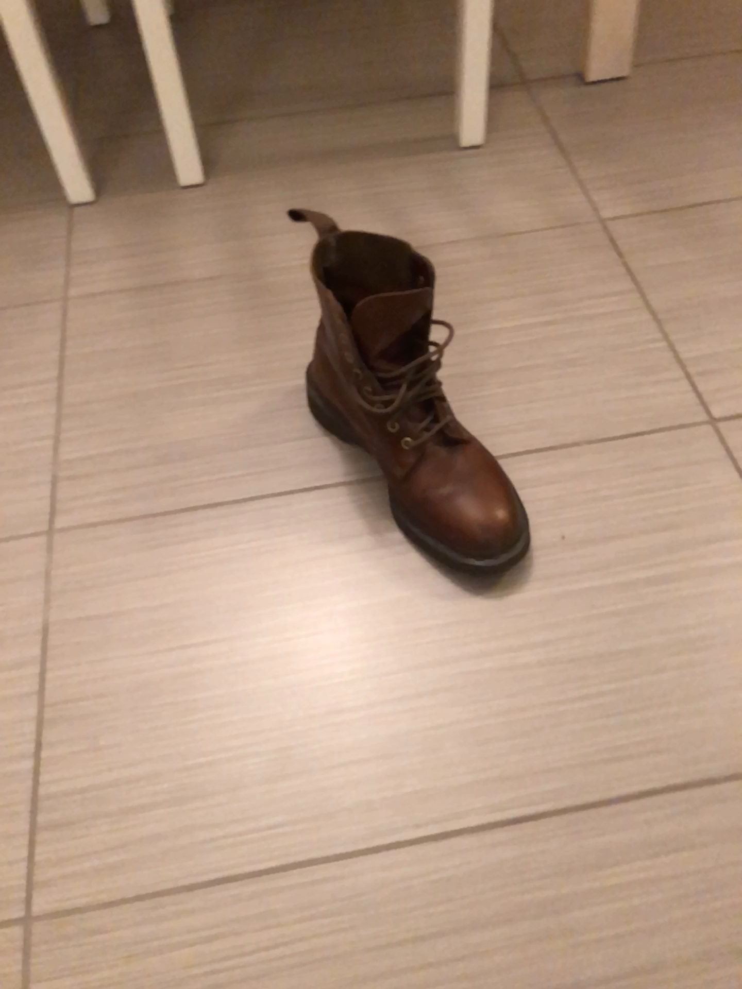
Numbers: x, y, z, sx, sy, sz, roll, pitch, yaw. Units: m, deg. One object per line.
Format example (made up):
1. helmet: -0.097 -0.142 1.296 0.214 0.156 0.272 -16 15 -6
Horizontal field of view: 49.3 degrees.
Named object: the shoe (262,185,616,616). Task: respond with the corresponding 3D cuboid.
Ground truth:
1. shoe: 0.040 -0.079 0.648 0.115 0.180 0.283 -27 58 -15
